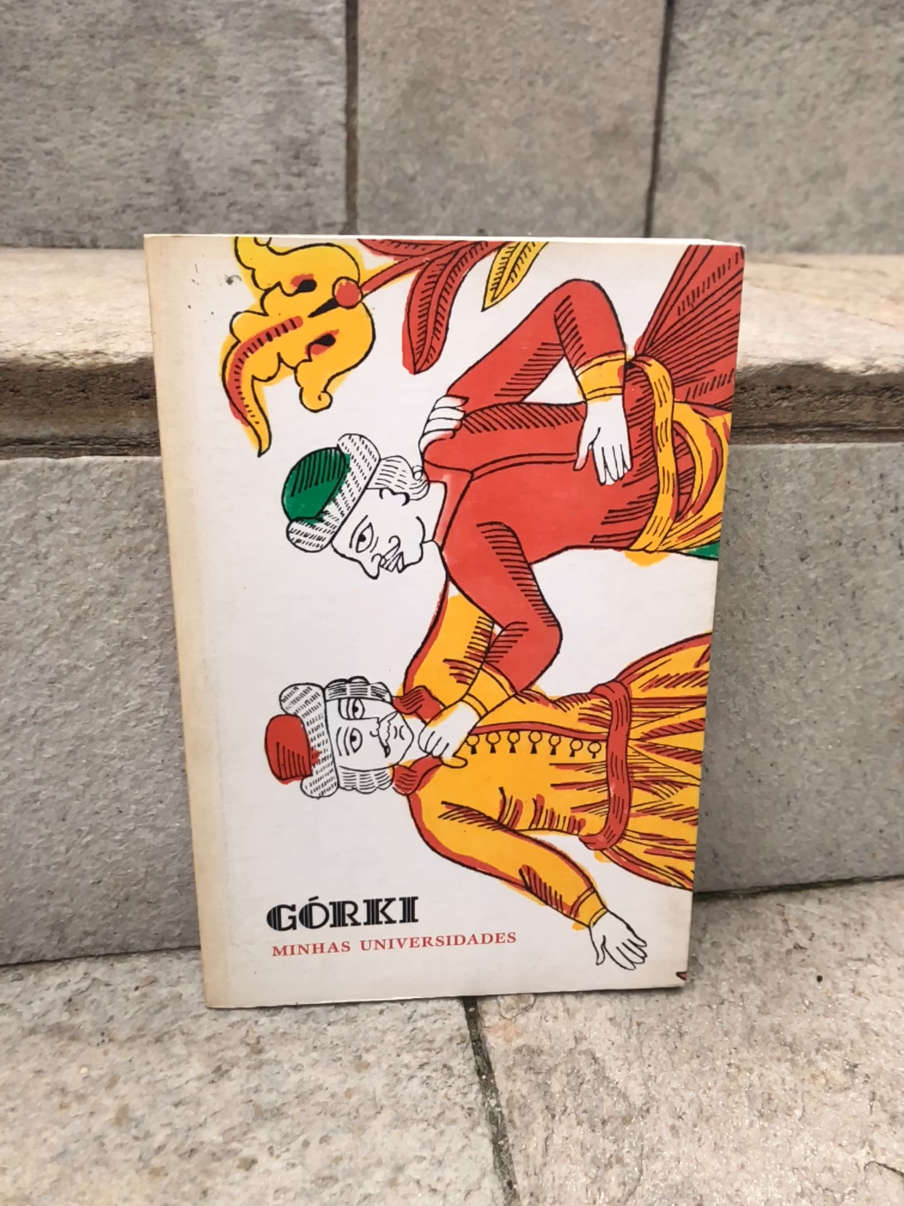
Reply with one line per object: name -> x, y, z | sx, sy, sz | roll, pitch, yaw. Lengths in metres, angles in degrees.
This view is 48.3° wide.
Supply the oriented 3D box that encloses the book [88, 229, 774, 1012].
book -> -0.004, 0.009, 0.251 | 0.141, 0.189, 0.030 | -1, 18, -5
